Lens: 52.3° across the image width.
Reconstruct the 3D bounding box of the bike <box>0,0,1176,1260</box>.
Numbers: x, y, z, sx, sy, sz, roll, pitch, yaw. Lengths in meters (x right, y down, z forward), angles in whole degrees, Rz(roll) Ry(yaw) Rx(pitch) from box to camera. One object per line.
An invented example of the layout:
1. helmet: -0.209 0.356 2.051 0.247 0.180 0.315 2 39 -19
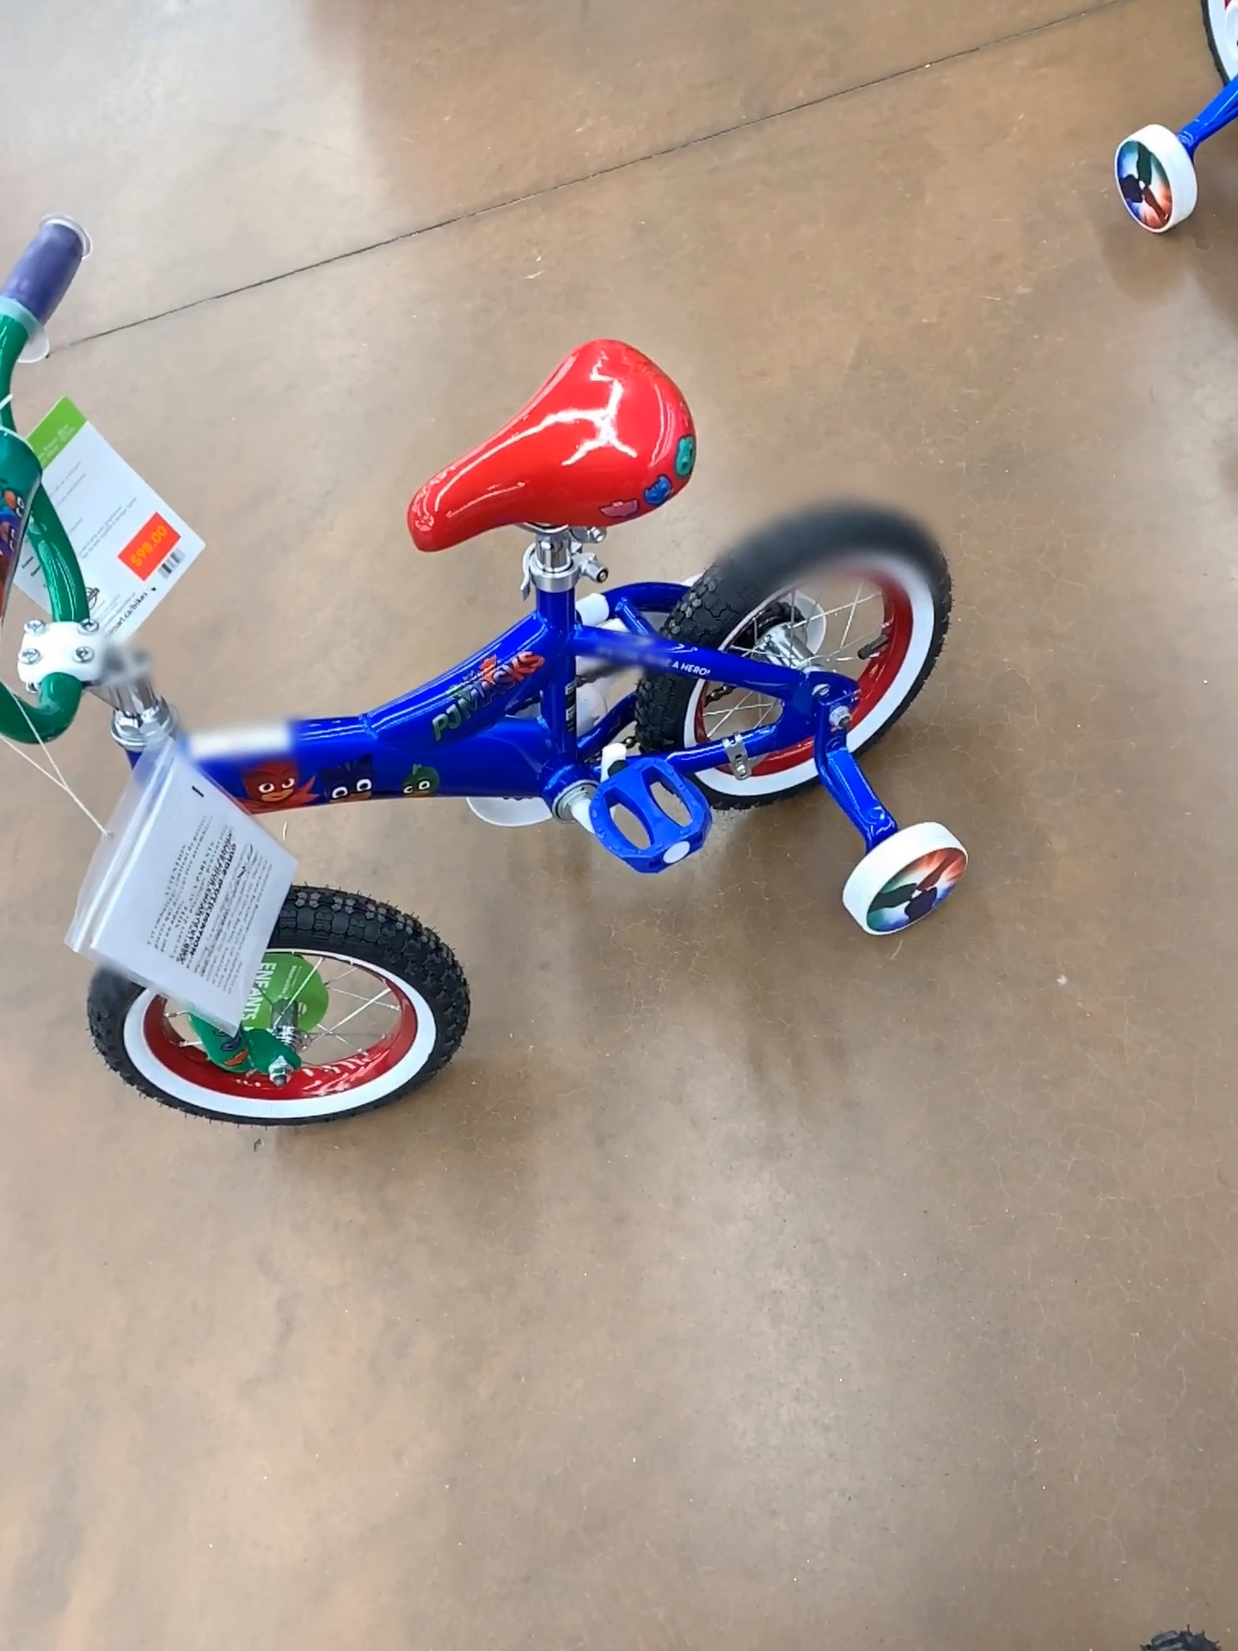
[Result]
1. bike: -0.133 -0.141 0.943 0.793 0.695 0.466 -30 56 0
